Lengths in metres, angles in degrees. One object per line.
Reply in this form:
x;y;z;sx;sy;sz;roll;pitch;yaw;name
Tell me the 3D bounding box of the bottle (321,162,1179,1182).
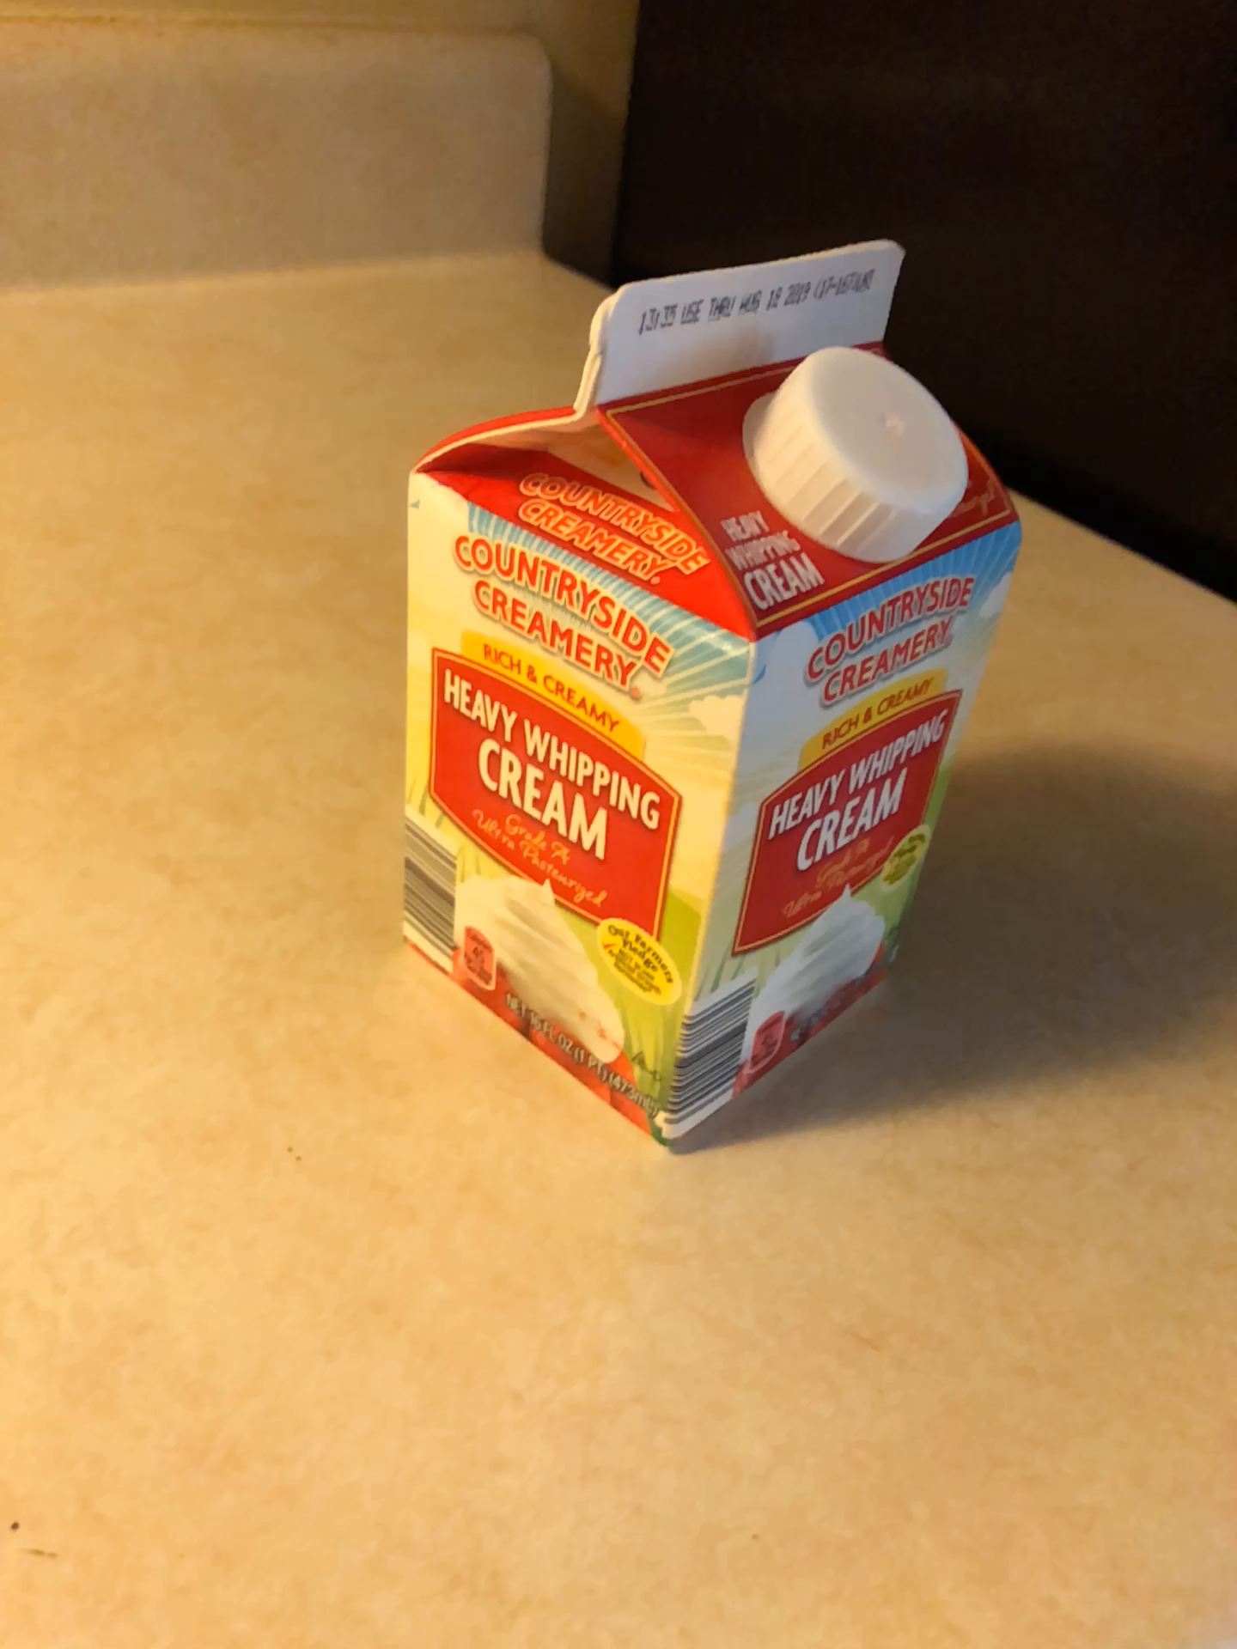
0.014;-0.032;0.240;0.090;0.130;0.090;5;35;-4;bottle
